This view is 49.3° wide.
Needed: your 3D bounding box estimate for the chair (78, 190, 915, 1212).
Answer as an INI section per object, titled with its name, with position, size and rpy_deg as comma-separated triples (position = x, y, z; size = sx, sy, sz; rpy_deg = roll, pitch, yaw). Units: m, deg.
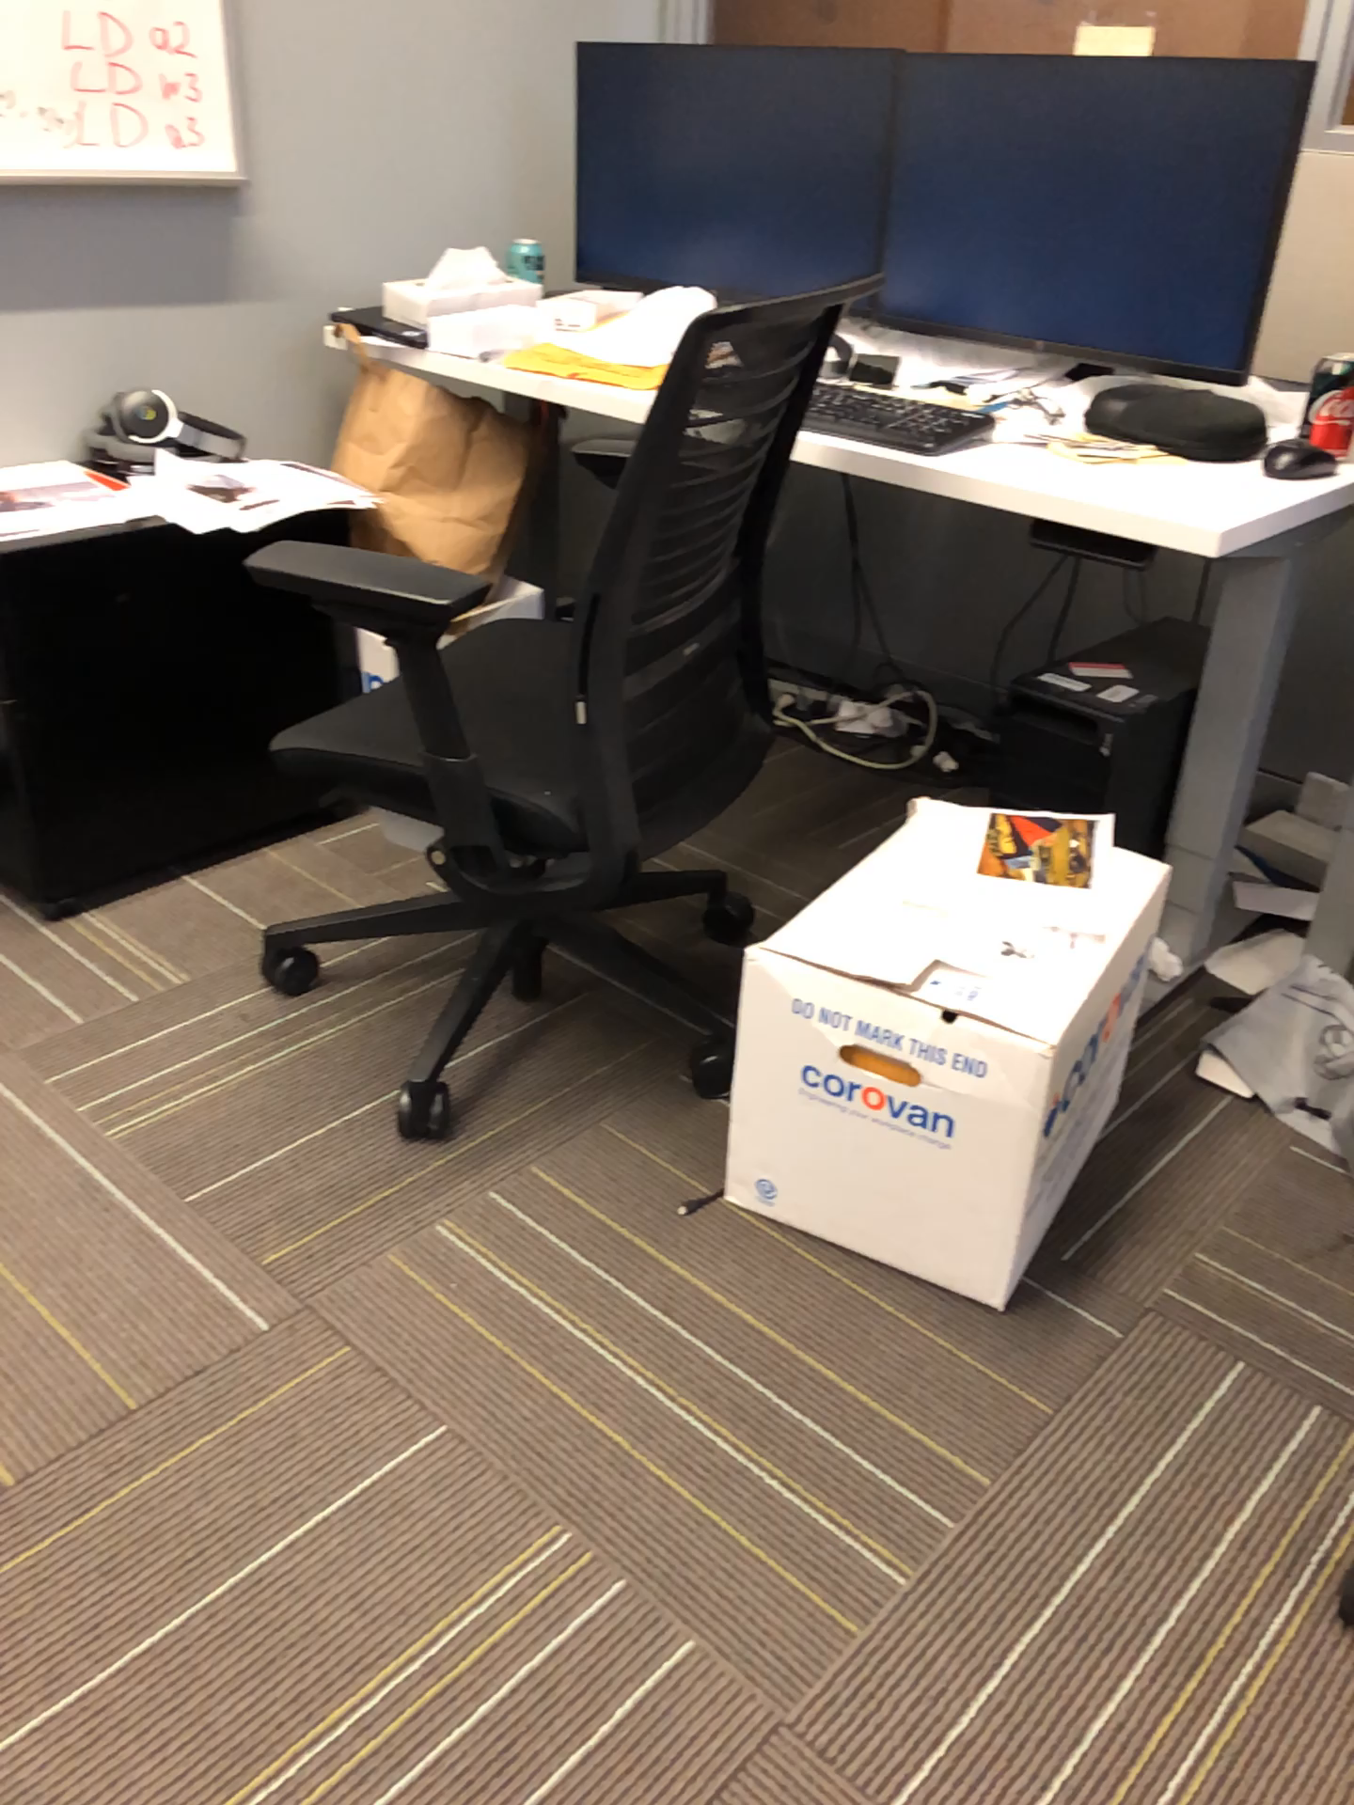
[chair]
position = -0.158, -0.290, 1.740
size = 0.610, 0.935, 0.673
rpy_deg = 14, 30, 18
